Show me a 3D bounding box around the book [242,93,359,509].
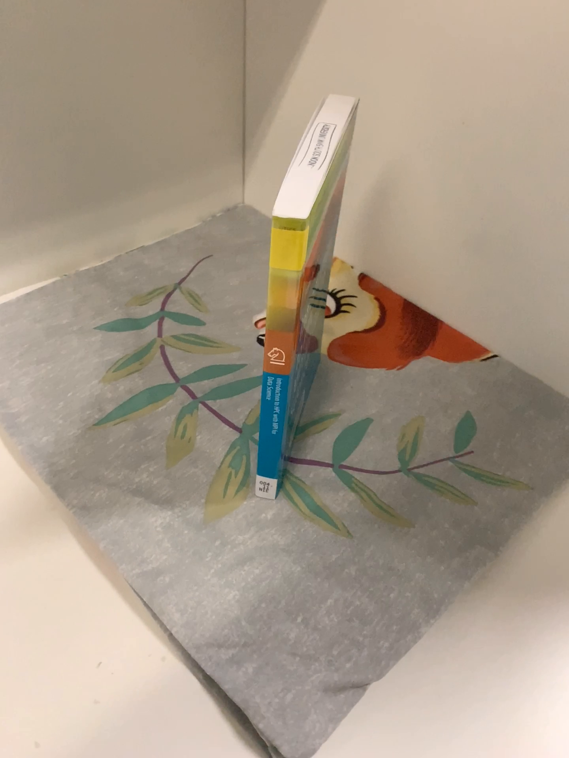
[{"bbox_3d":[0.009,-0.047,0.405,0.030,0.228,0.172,11,45,5],"label":"book"}]

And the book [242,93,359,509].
[{"bbox_3d":[0.009,-0.047,0.405,0.030,0.228,0.172,11,45,5],"label":"book"}]
